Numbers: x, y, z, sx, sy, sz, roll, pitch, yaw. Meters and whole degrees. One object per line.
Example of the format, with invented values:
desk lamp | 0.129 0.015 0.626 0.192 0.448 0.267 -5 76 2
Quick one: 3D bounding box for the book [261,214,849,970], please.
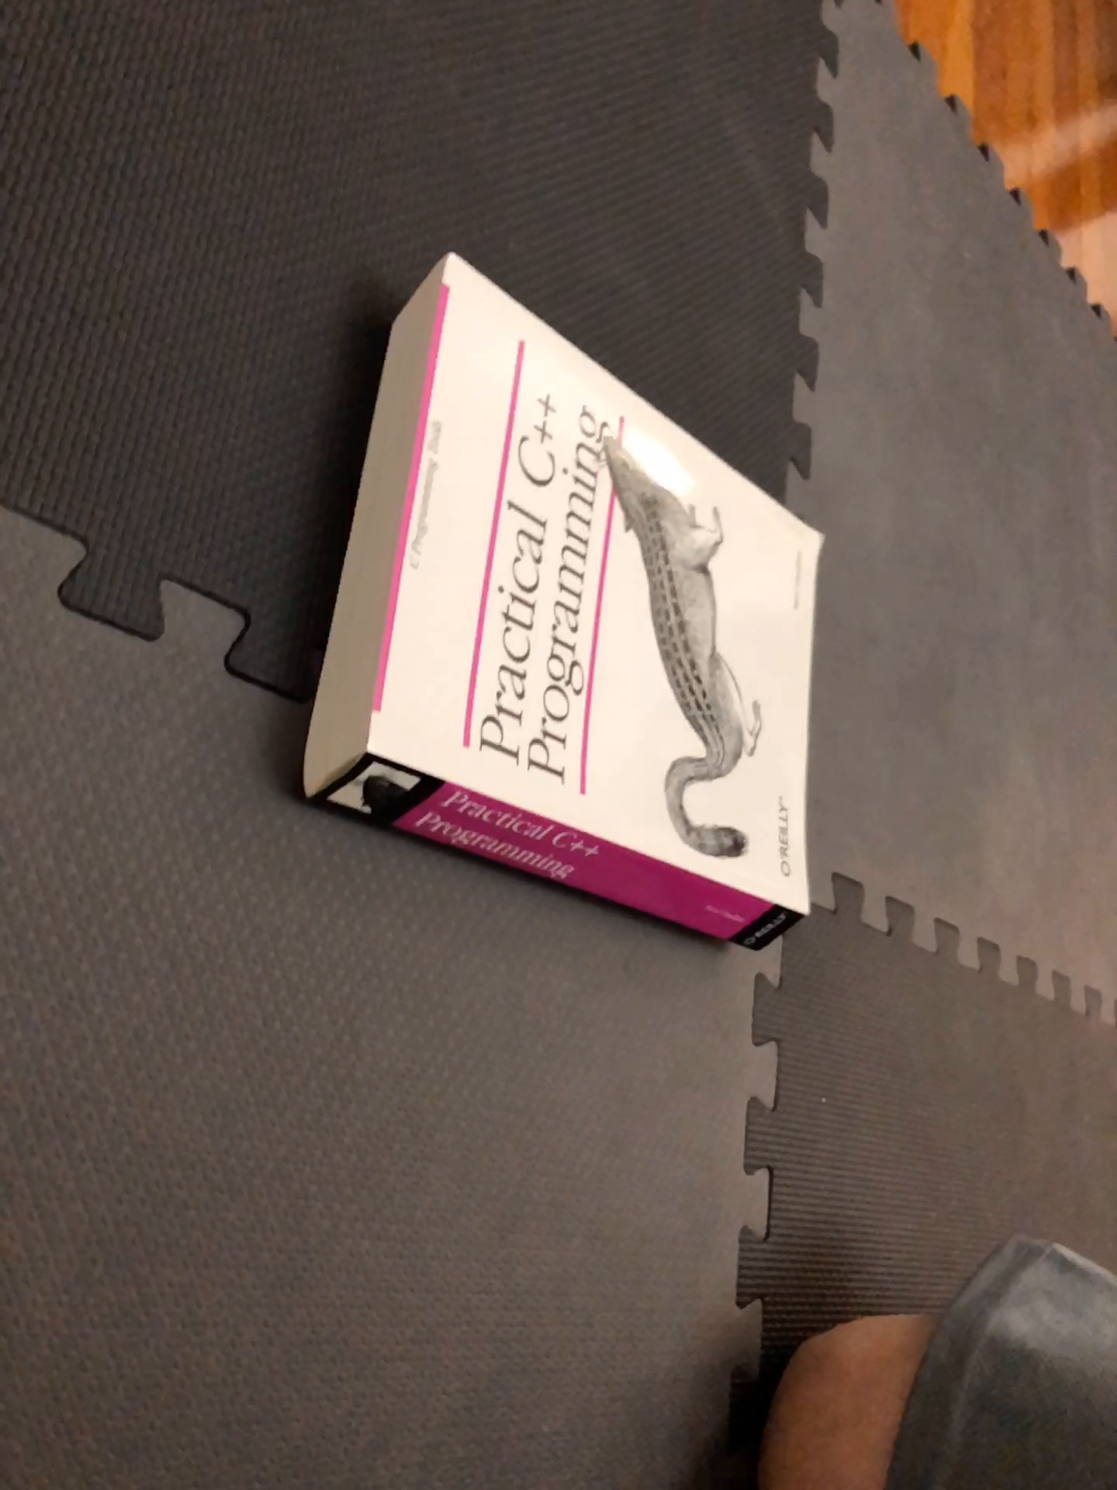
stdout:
book | 0.019 -0.039 0.472 0.251 0.050 0.200 24 59 -43
